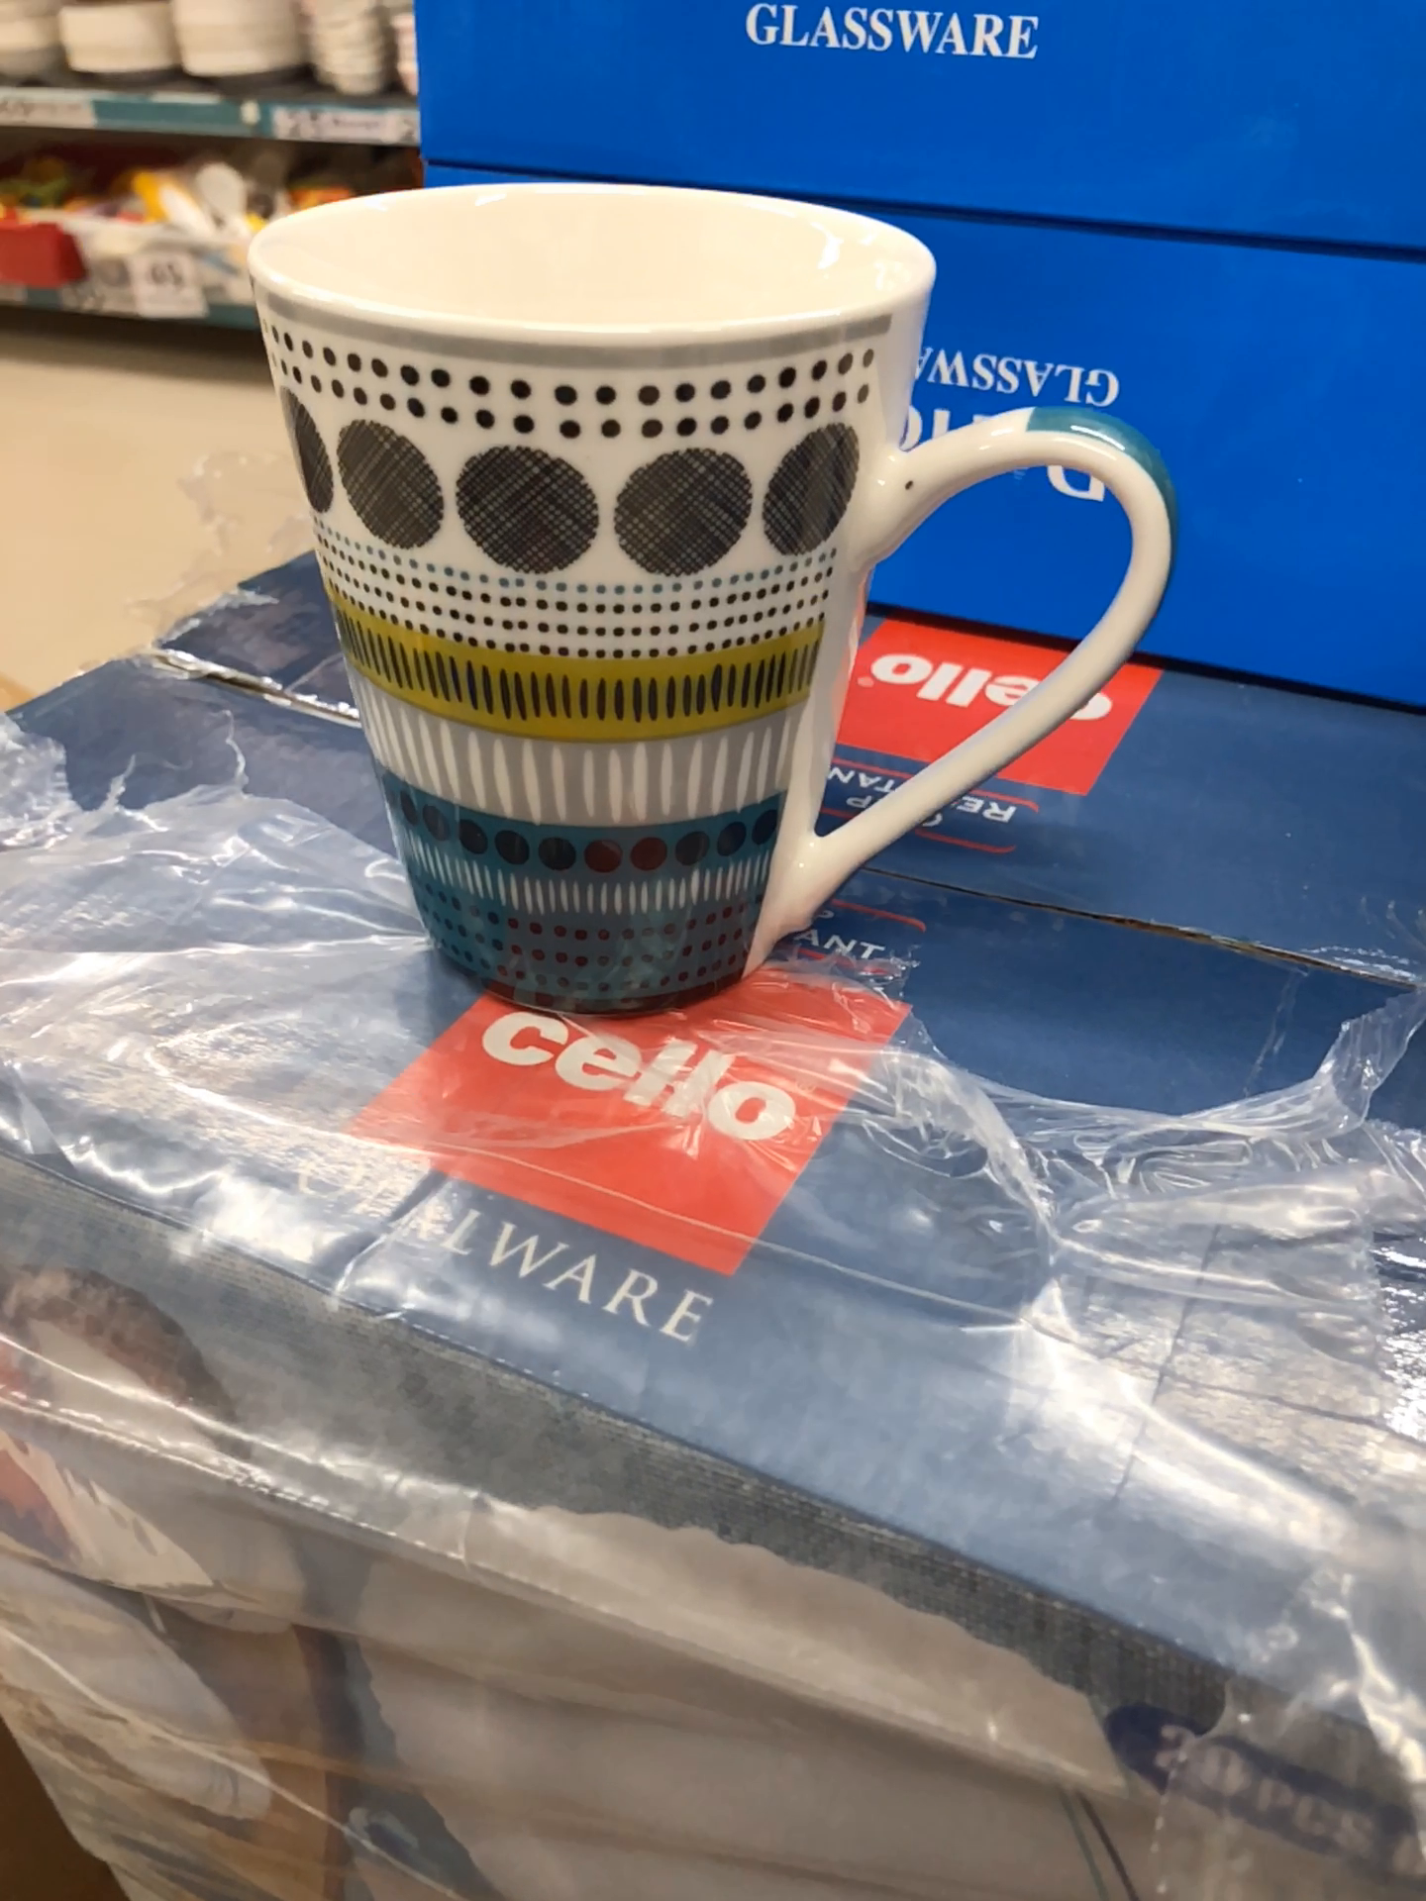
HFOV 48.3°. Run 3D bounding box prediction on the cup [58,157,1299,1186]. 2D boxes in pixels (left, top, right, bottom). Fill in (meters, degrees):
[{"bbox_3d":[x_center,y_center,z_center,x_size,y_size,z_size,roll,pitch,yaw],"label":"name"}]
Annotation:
[{"bbox_3d":[0.003,-0.045,0.212,0.120,0.089,0.091,11,39,17],"label":"cup"}]
